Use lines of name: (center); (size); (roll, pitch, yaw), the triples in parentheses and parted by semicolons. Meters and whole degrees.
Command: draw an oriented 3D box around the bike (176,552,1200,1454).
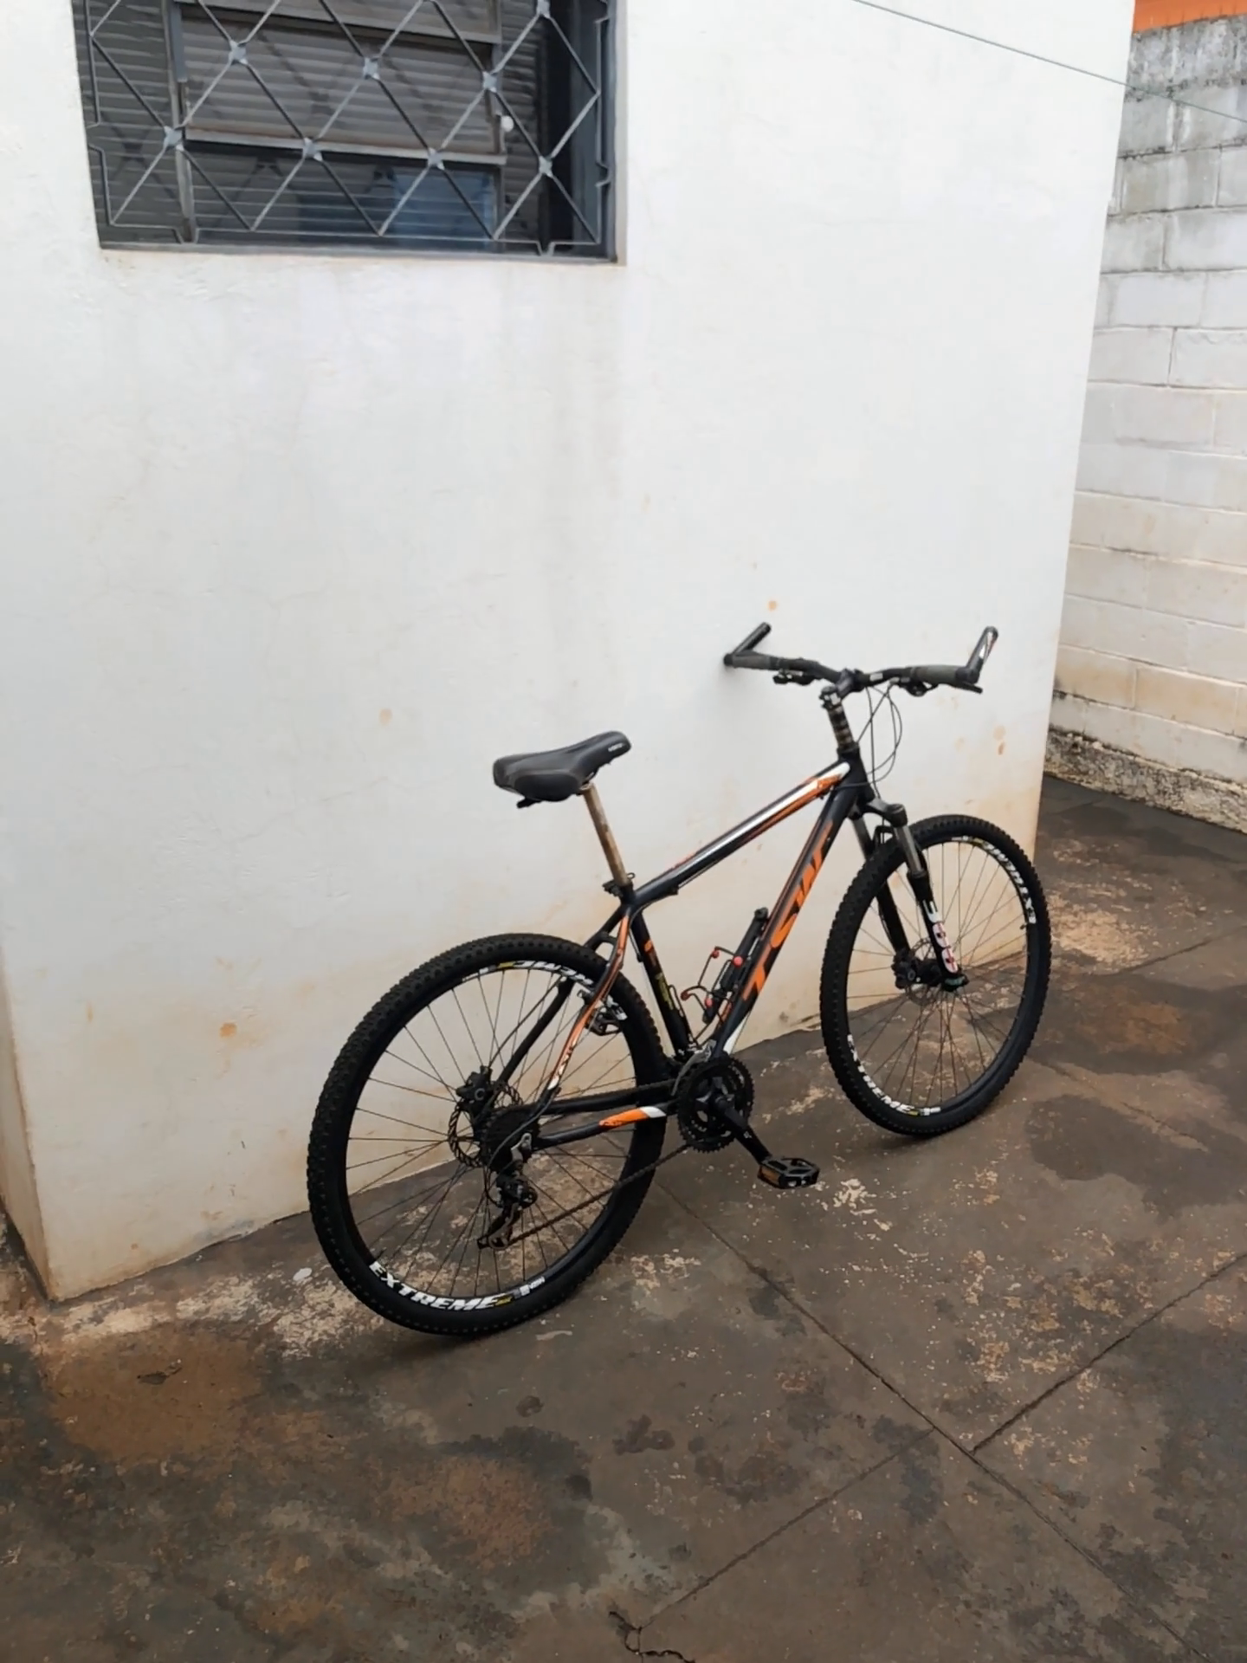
bike: (0.197, 0.139, 2.639); (1.768, 1.085, 0.723); (-14, 24, -34)
